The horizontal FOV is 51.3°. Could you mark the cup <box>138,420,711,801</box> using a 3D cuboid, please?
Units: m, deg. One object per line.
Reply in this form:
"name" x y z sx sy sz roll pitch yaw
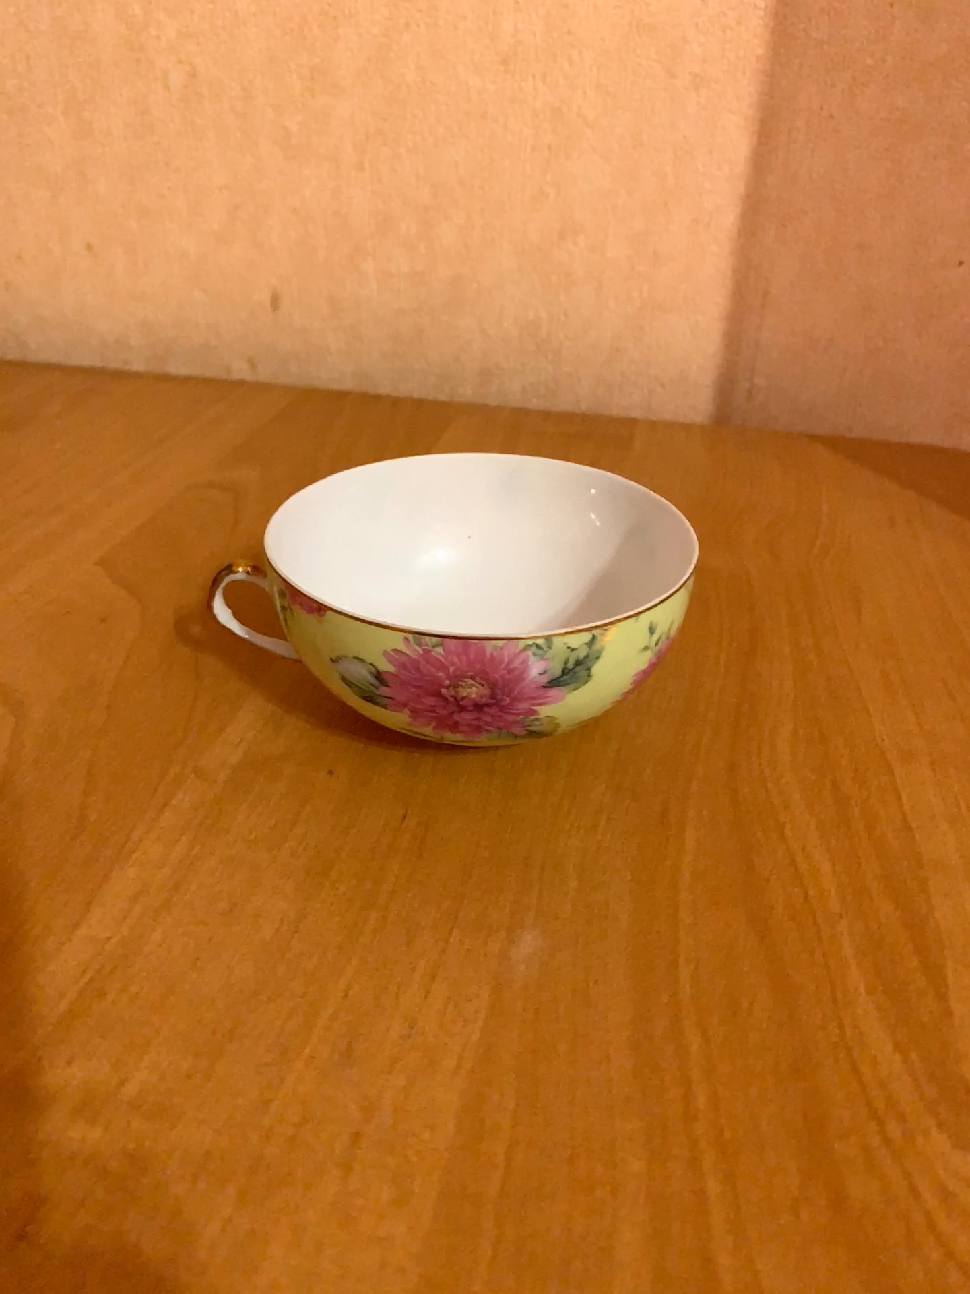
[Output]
"cup" -0.008 -0.015 0.240 0.113 0.045 0.079 7 31 10
